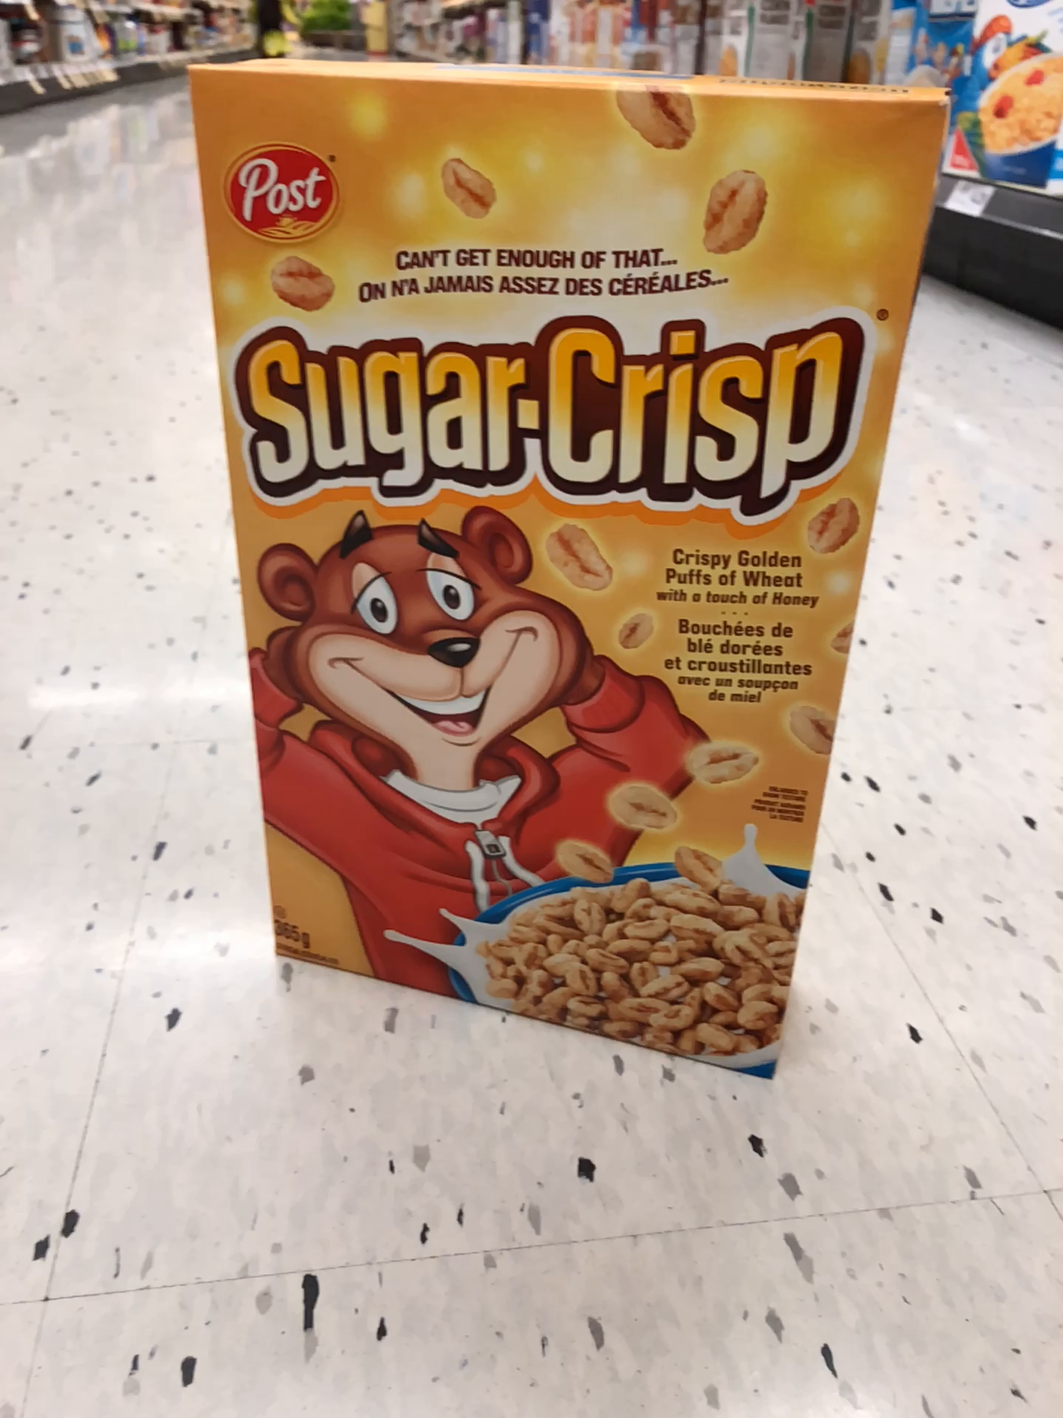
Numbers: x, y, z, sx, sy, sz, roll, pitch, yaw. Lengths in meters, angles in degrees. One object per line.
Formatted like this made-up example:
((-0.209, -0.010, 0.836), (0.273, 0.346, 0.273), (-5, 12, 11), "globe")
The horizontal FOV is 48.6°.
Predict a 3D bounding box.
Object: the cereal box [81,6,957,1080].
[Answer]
((-0.008, -0.041, 0.366), (0.210, 0.298, 0.060), (10, 30, 14), "cereal box")
